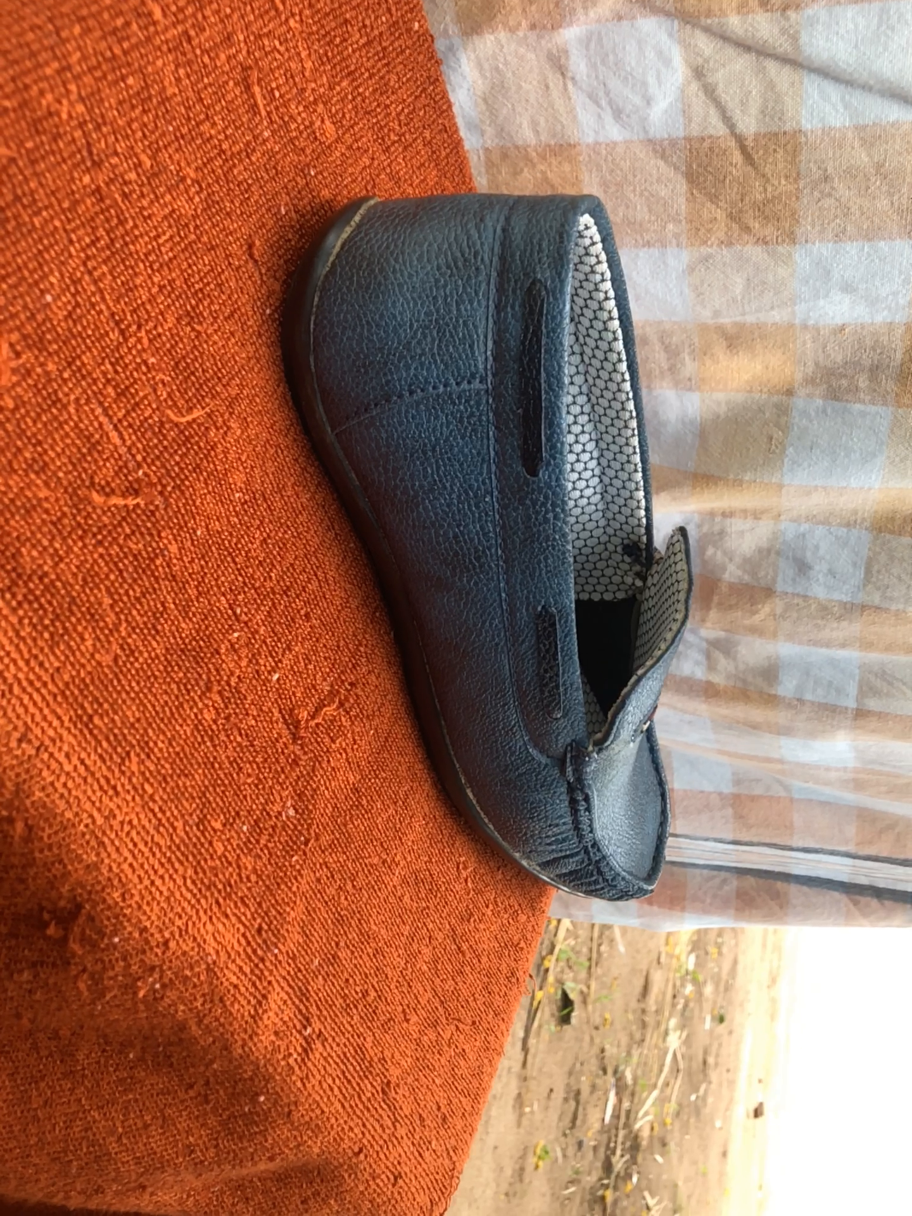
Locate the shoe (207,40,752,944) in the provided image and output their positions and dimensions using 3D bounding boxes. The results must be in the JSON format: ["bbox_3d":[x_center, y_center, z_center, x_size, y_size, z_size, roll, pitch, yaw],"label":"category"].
[{"bbox_3d":[0.034,-0.016,0.322,0.100,0.089,0.261,-63,147,-42],"label":"shoe"}]
